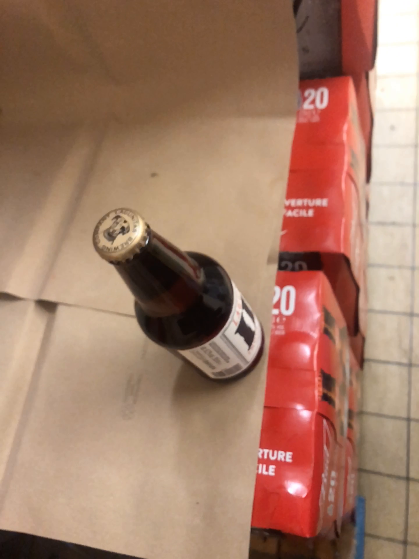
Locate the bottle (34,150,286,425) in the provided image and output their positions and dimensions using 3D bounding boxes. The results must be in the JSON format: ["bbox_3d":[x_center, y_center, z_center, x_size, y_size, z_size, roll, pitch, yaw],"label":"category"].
[{"bbox_3d":[-0.014,0.026,0.302,0.080,0.199,0.080,-6,64,13],"label":"bottle"}]
